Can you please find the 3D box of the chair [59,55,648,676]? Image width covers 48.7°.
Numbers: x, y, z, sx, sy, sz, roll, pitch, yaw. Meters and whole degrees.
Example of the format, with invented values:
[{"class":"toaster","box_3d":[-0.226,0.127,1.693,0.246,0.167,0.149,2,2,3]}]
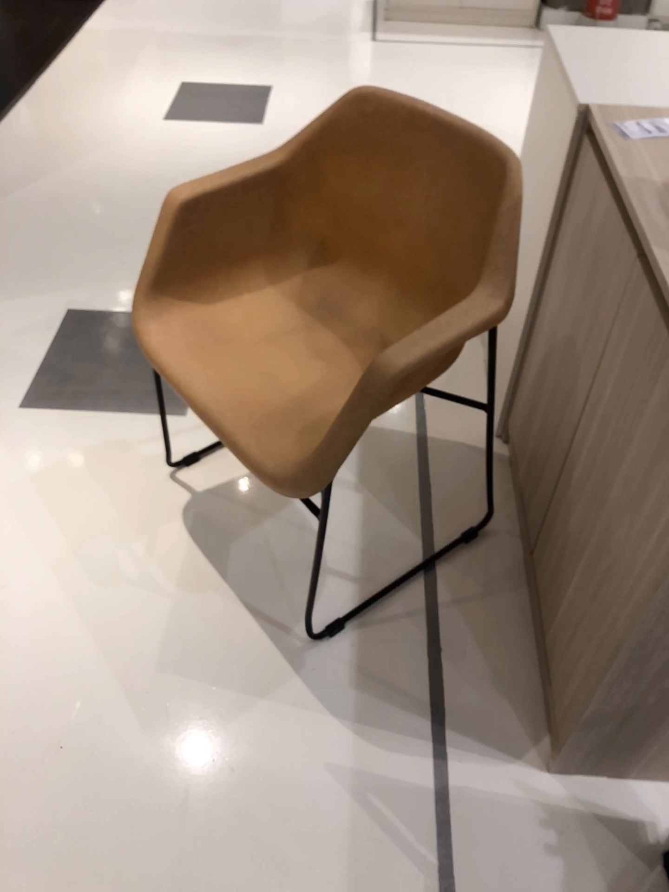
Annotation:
[{"class":"chair","box_3d":[0.009,-0.154,1.275,0.572,0.705,0.592,-30,53,-27]}]
